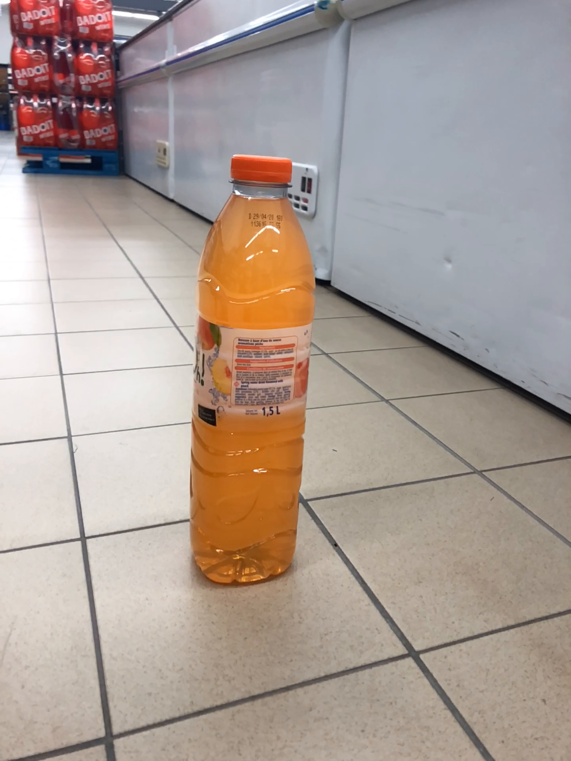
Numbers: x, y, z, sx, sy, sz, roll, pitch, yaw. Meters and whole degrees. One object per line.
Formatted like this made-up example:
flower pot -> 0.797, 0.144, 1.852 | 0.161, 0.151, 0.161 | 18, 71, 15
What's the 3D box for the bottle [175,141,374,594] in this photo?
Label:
bottle -> -0.019, -0.010, 0.454 | 0.100, 0.299, 0.100 | 3, 20, -1
